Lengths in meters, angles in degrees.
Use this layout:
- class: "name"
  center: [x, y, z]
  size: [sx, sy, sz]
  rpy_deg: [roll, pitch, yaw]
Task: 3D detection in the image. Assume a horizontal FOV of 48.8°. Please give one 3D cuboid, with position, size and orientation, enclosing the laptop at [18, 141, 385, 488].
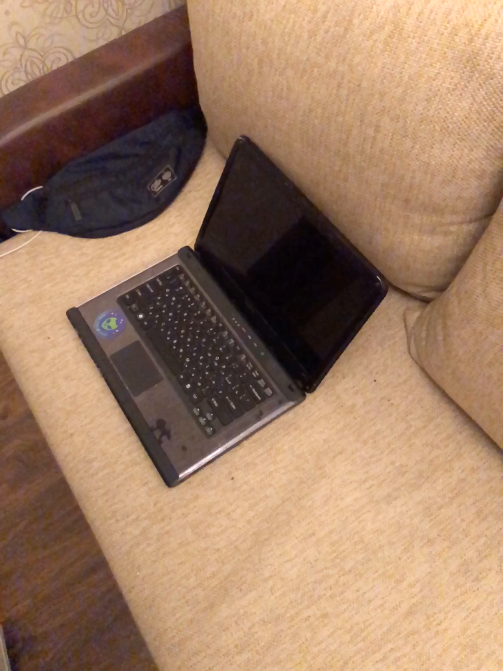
- class: "laptop"
  center: [-0.067, -0.042, 0.791]
  size: [0.349, 0.175, 0.338]
  rpy_deg: [-32, 64, -13]
